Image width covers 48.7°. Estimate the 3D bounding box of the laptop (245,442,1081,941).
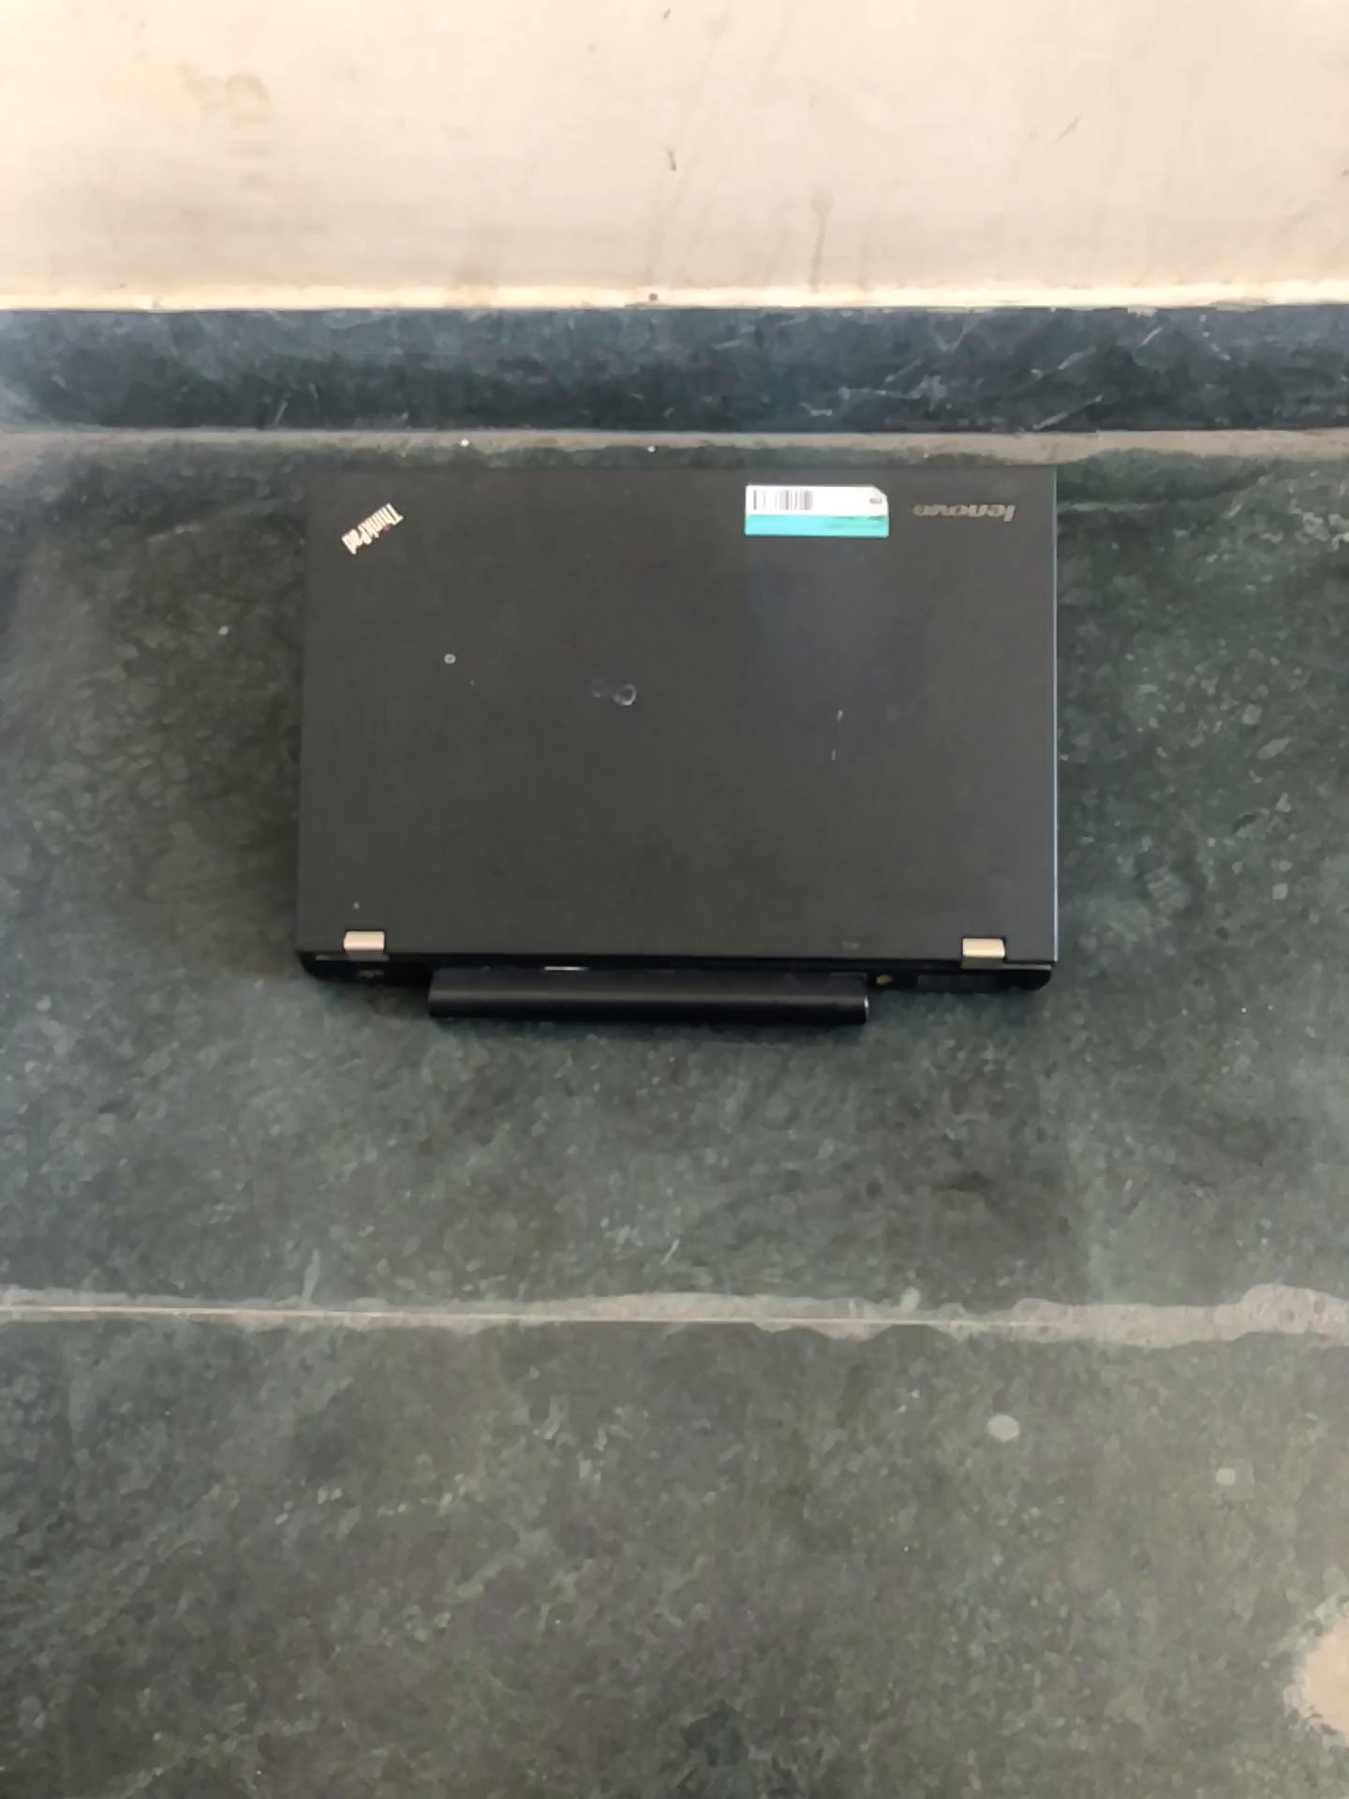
[{"bbox_3d":[0.001,-0.105,0.723,0.349,0.094,0.228,1,58,1],"label":"laptop"}]
